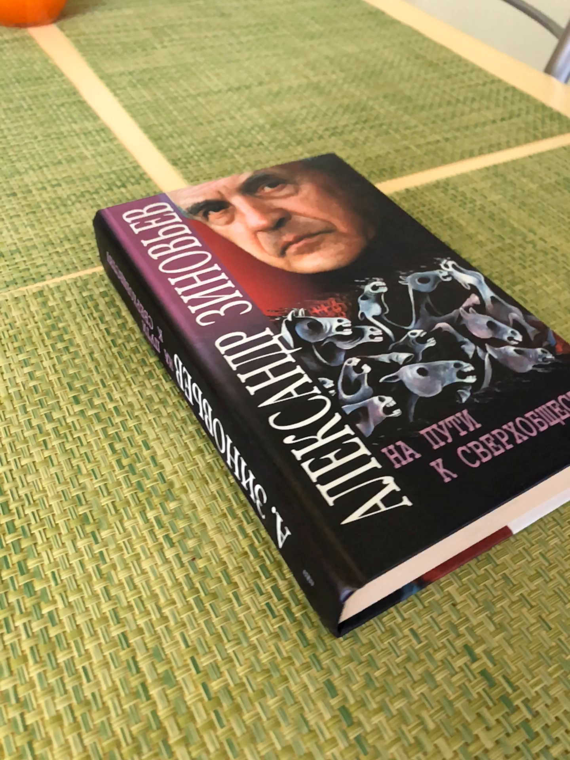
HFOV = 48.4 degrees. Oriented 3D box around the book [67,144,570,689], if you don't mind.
[{"bbox_3d":[0.023,-0.016,0.252,0.150,0.040,0.201,-21,52,-23],"label":"book"}]
